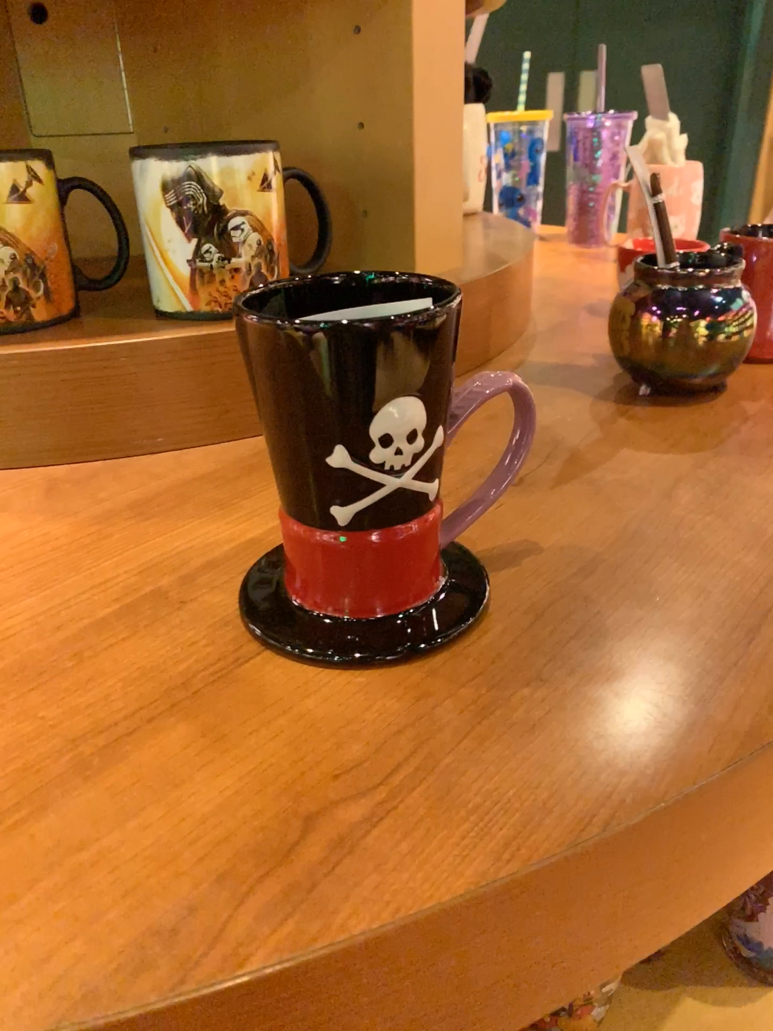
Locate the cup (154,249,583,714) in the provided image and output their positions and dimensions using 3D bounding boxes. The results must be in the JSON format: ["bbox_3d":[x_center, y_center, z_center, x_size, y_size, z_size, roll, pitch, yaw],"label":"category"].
[{"bbox_3d":[-0.010,-0.026,0.344,0.134,0.144,0.110,-14,30,-23],"label":"cup"}]
